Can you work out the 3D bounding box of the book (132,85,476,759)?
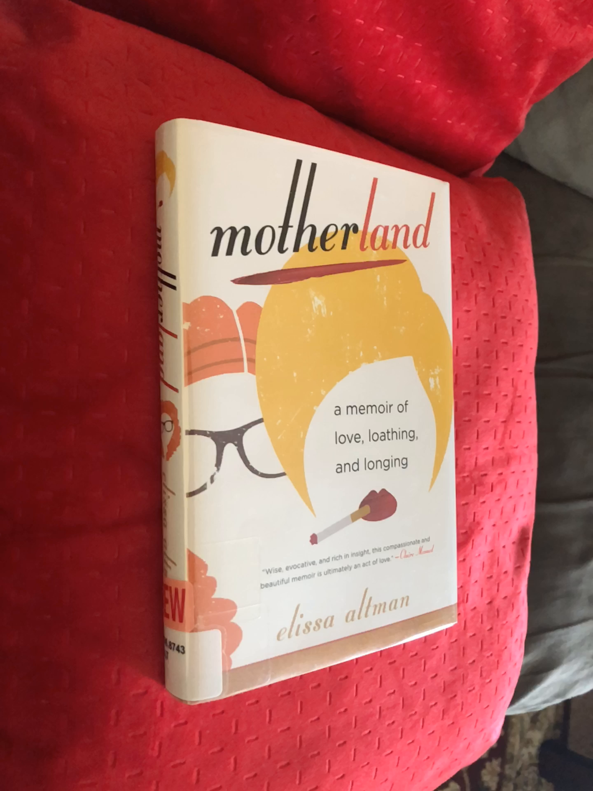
[{"bbox_3d":[0.011,0.008,0.264,0.141,0.040,0.210,-2,91,-38],"label":"book"}]
